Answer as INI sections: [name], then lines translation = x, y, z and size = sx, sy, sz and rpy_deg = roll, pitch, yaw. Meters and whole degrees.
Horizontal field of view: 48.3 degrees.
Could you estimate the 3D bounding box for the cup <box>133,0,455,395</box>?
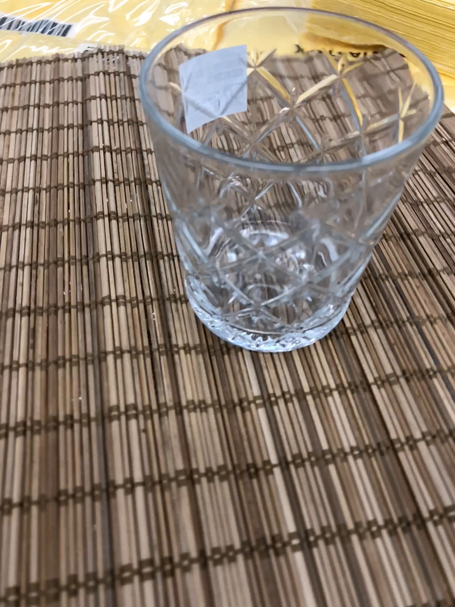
[cup]
translation = 0.022, -0.038, 0.160
size = 0.080, 0.090, 0.080
rpy_deg = 2, 49, -2
